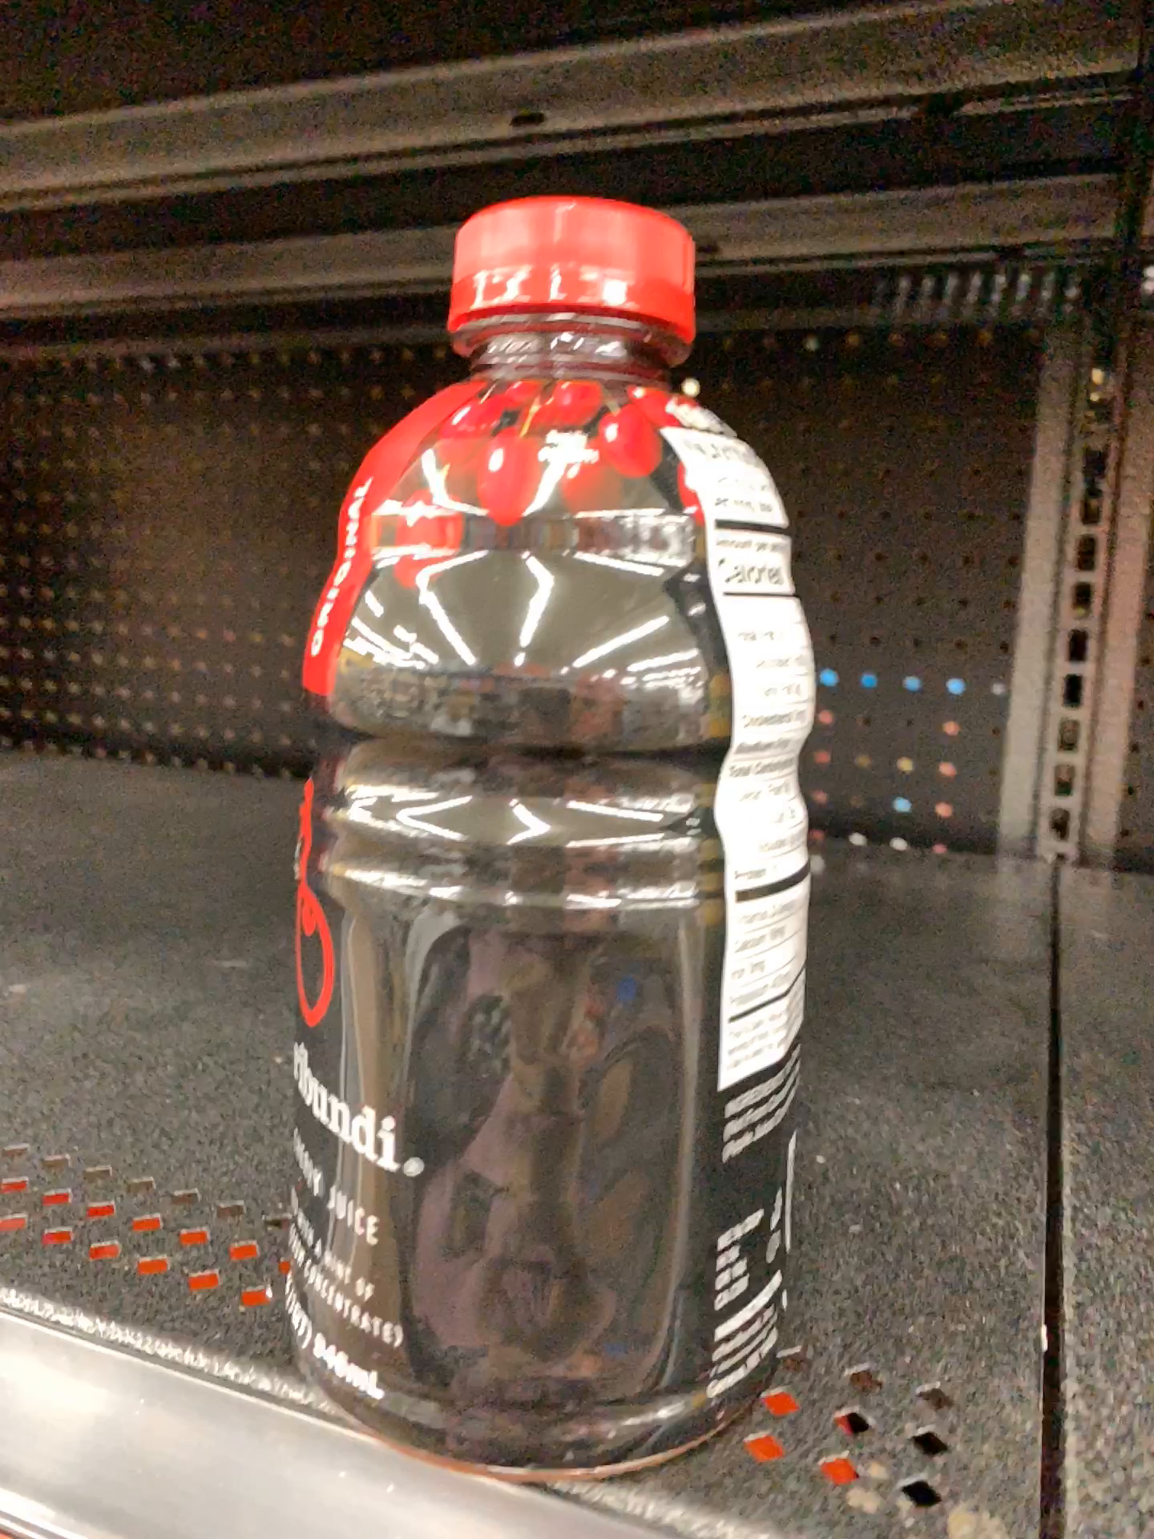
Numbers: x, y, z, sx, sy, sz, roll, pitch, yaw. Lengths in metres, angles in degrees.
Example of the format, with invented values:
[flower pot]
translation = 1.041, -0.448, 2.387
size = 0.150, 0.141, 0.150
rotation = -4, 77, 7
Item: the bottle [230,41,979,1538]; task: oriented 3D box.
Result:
[bottle]
translation = -0.007, 0.011, 0.211
size = 0.090, 0.205, 0.095
rotation = 2, 9, 0
